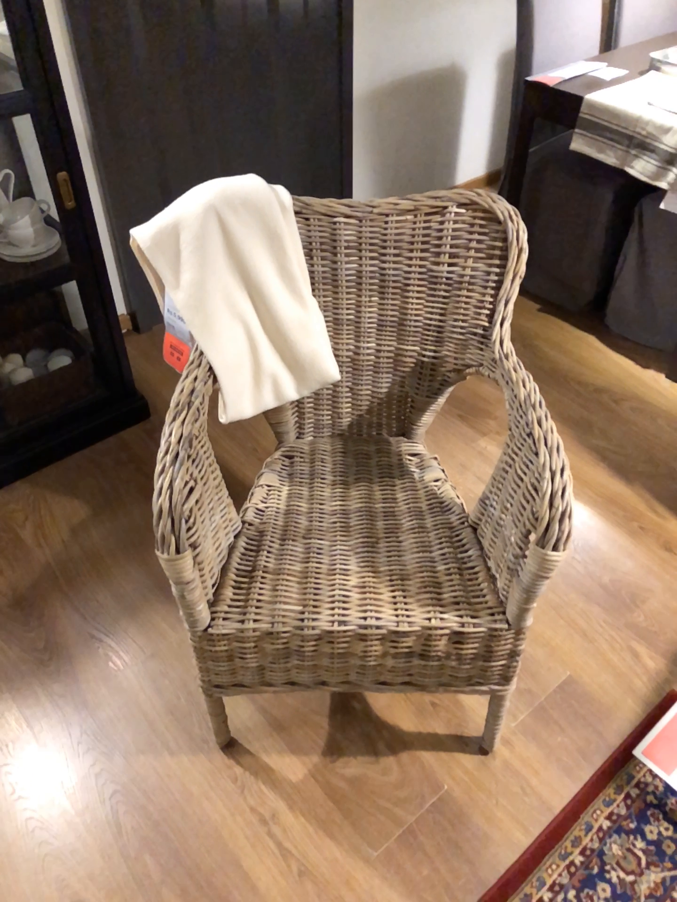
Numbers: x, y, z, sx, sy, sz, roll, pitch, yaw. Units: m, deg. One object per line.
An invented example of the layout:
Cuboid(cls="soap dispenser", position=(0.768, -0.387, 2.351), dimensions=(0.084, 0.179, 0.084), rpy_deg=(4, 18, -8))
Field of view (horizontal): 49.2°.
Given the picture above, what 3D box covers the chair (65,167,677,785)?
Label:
Cuboid(cls="chair", position=(0.039, 0.057, 1.235), dimensions=(0.620, 0.815, 0.634), rpy_deg=(0, 42, 0))
